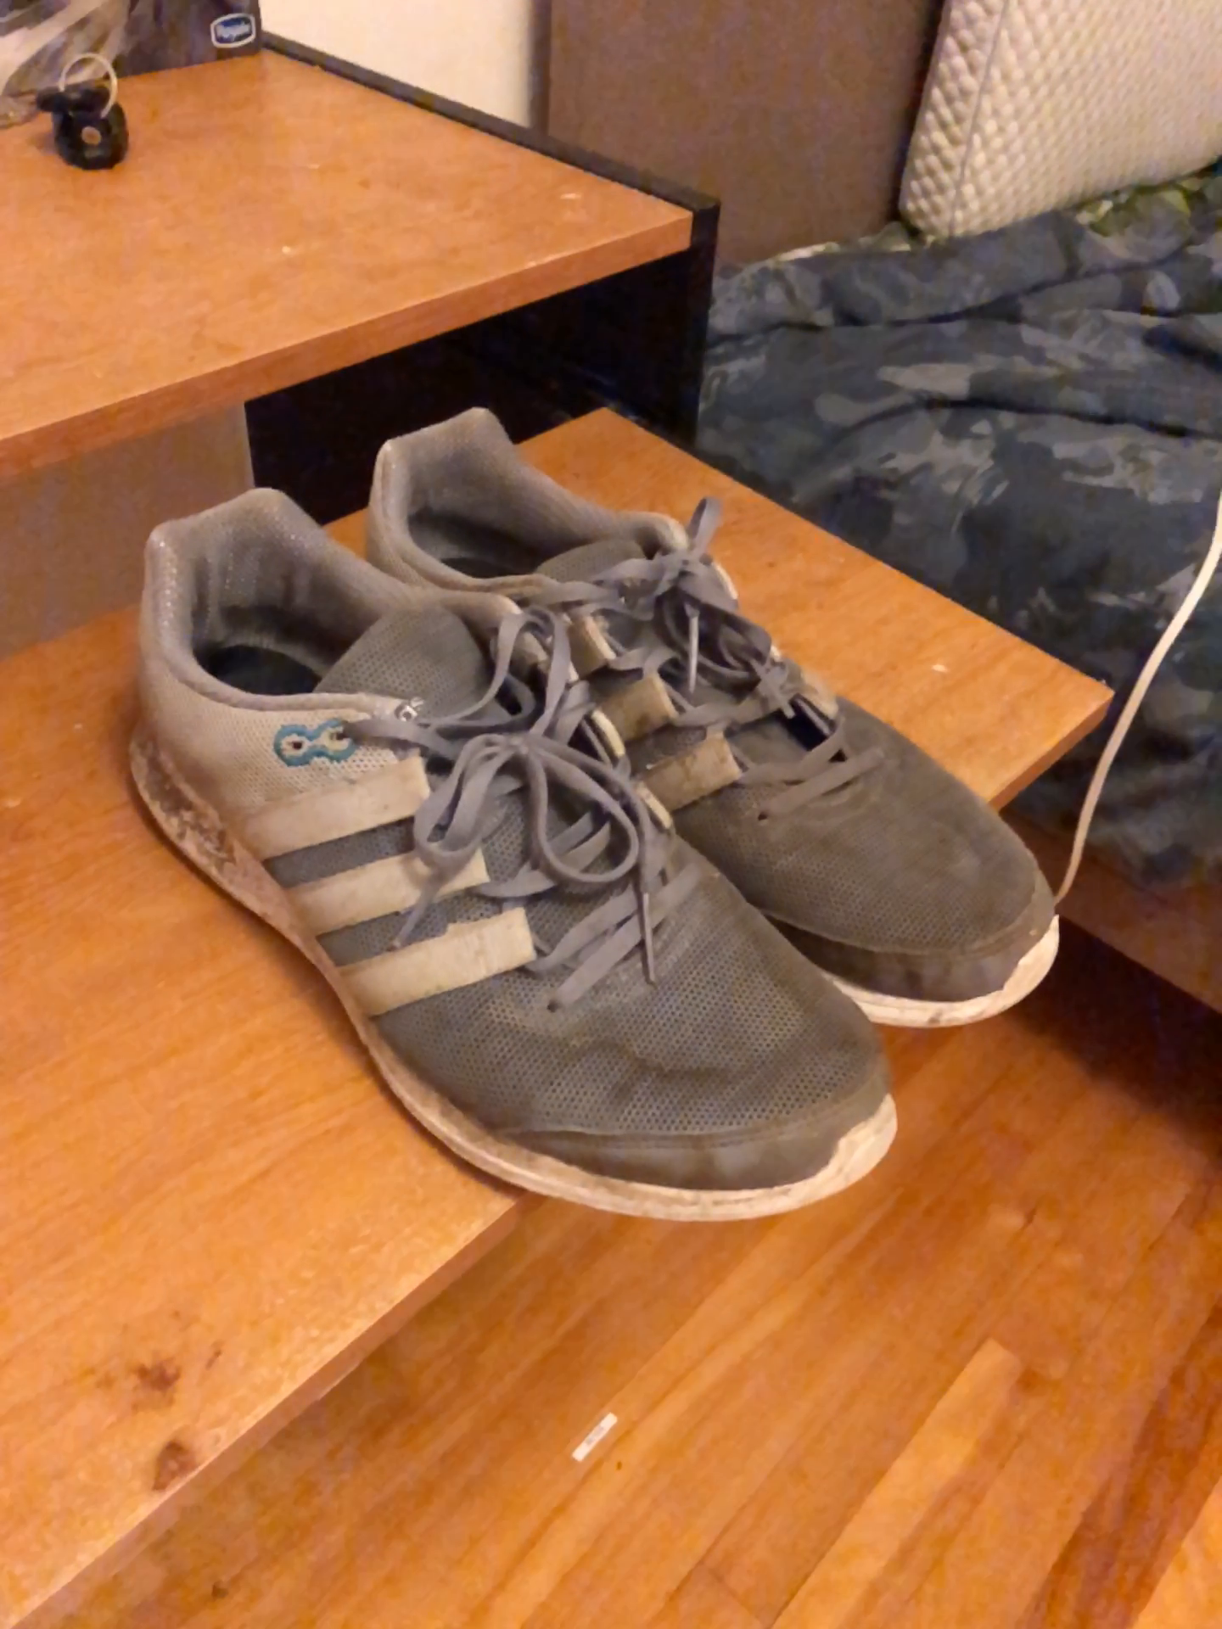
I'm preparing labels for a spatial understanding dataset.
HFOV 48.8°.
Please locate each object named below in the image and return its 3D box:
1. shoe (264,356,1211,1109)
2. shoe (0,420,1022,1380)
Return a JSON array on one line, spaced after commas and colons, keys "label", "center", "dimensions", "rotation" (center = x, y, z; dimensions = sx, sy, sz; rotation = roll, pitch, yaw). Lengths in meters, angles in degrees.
[{"label": "shoe", "center": [0.027, -0.045, 0.438], "dimensions": [0.271, 0.089, 0.121], "rotation": [32, 49, 27]}, {"label": "shoe", "center": [-0.057, -0.001, 0.378], "dimensions": [0.301, 0.089, 0.111], "rotation": [31, 48, 26]}]
